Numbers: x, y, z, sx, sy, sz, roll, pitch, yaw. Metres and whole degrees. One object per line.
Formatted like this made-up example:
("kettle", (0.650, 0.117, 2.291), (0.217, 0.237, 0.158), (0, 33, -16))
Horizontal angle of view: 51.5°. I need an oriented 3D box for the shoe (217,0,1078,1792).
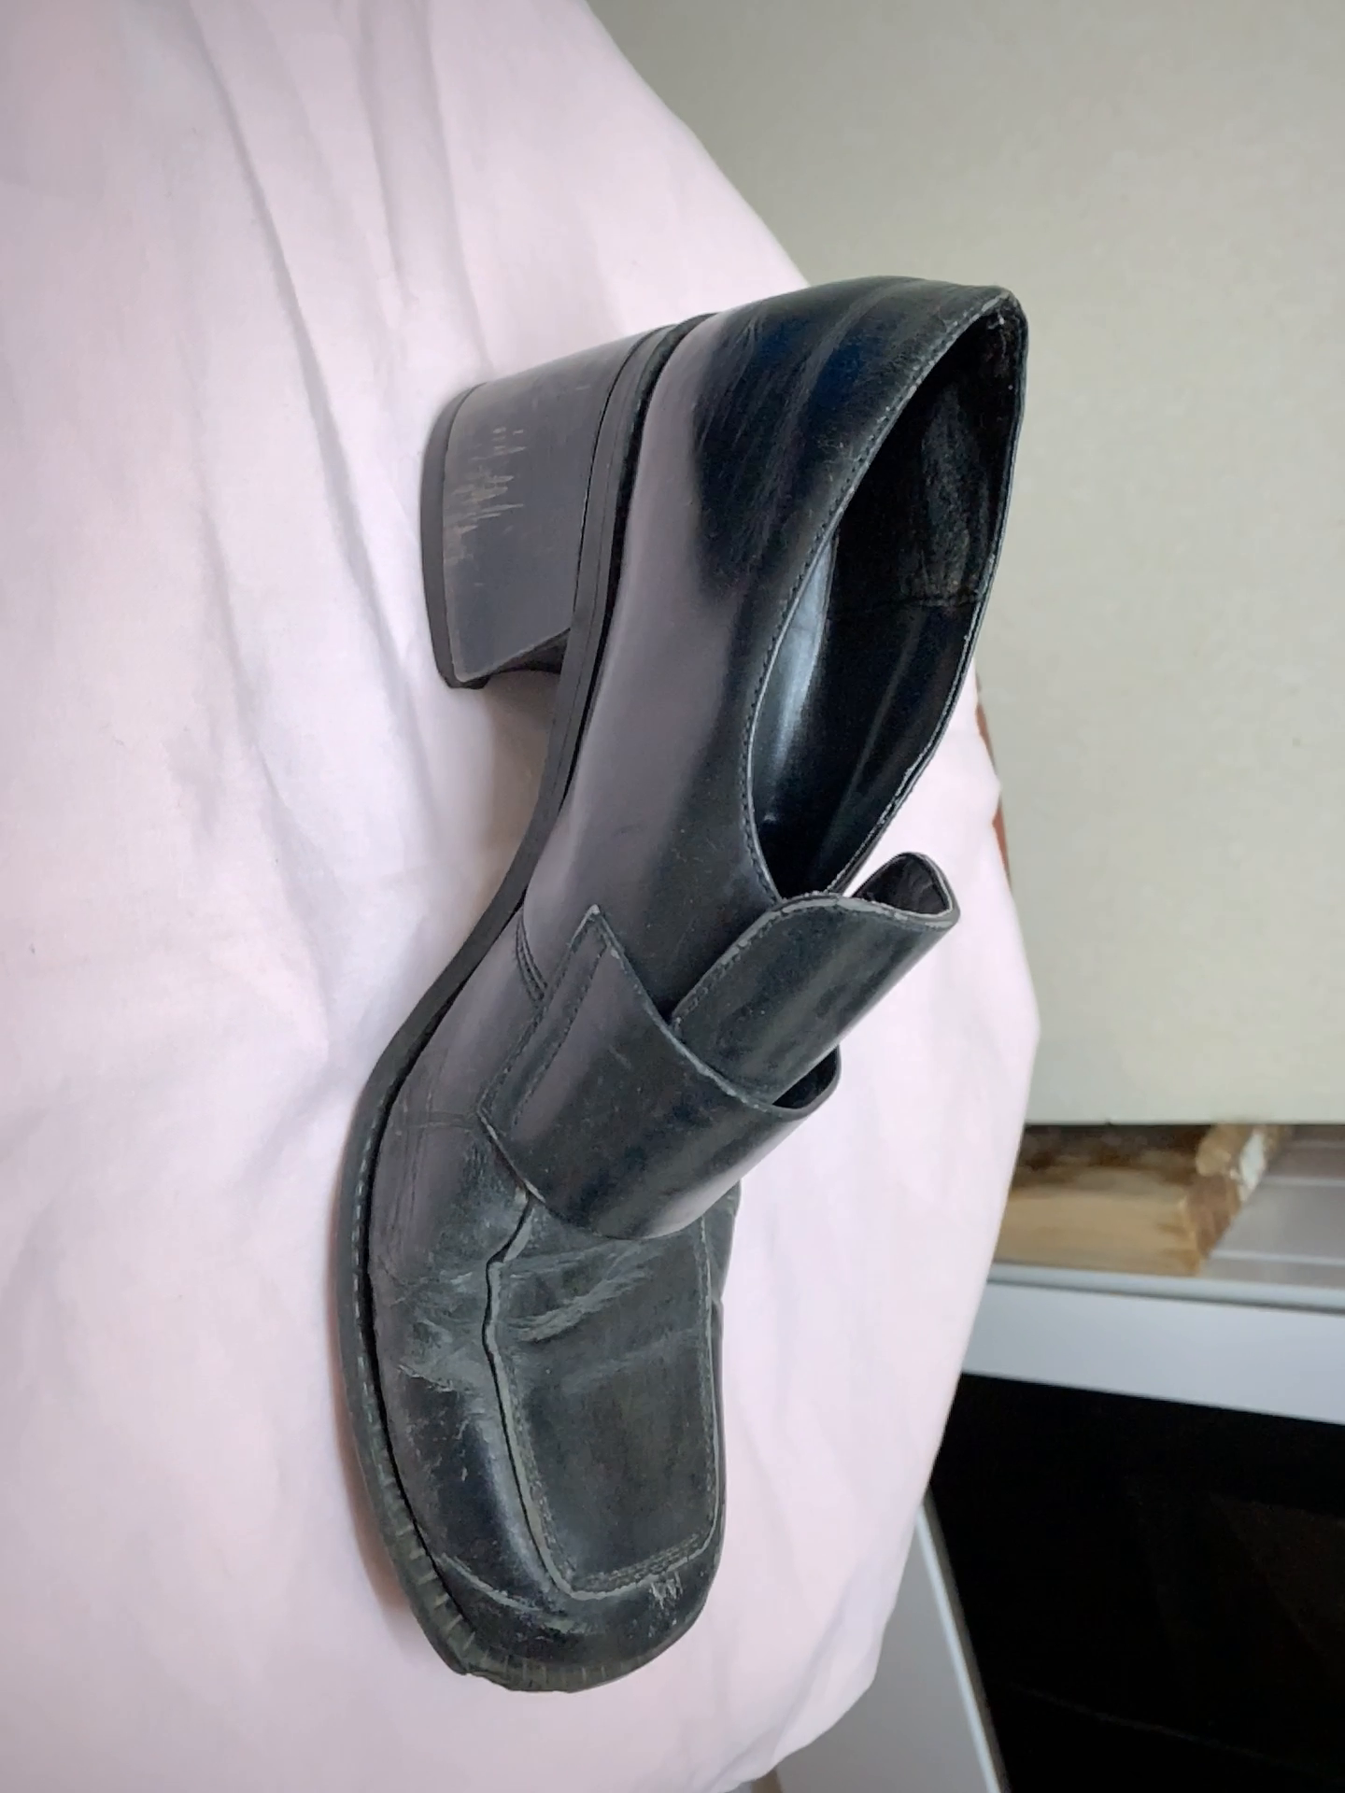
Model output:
("shoe", (-0.001, 0.001, 0.230), (0.091, 0.092, 0.240), (12, 75, -46))
